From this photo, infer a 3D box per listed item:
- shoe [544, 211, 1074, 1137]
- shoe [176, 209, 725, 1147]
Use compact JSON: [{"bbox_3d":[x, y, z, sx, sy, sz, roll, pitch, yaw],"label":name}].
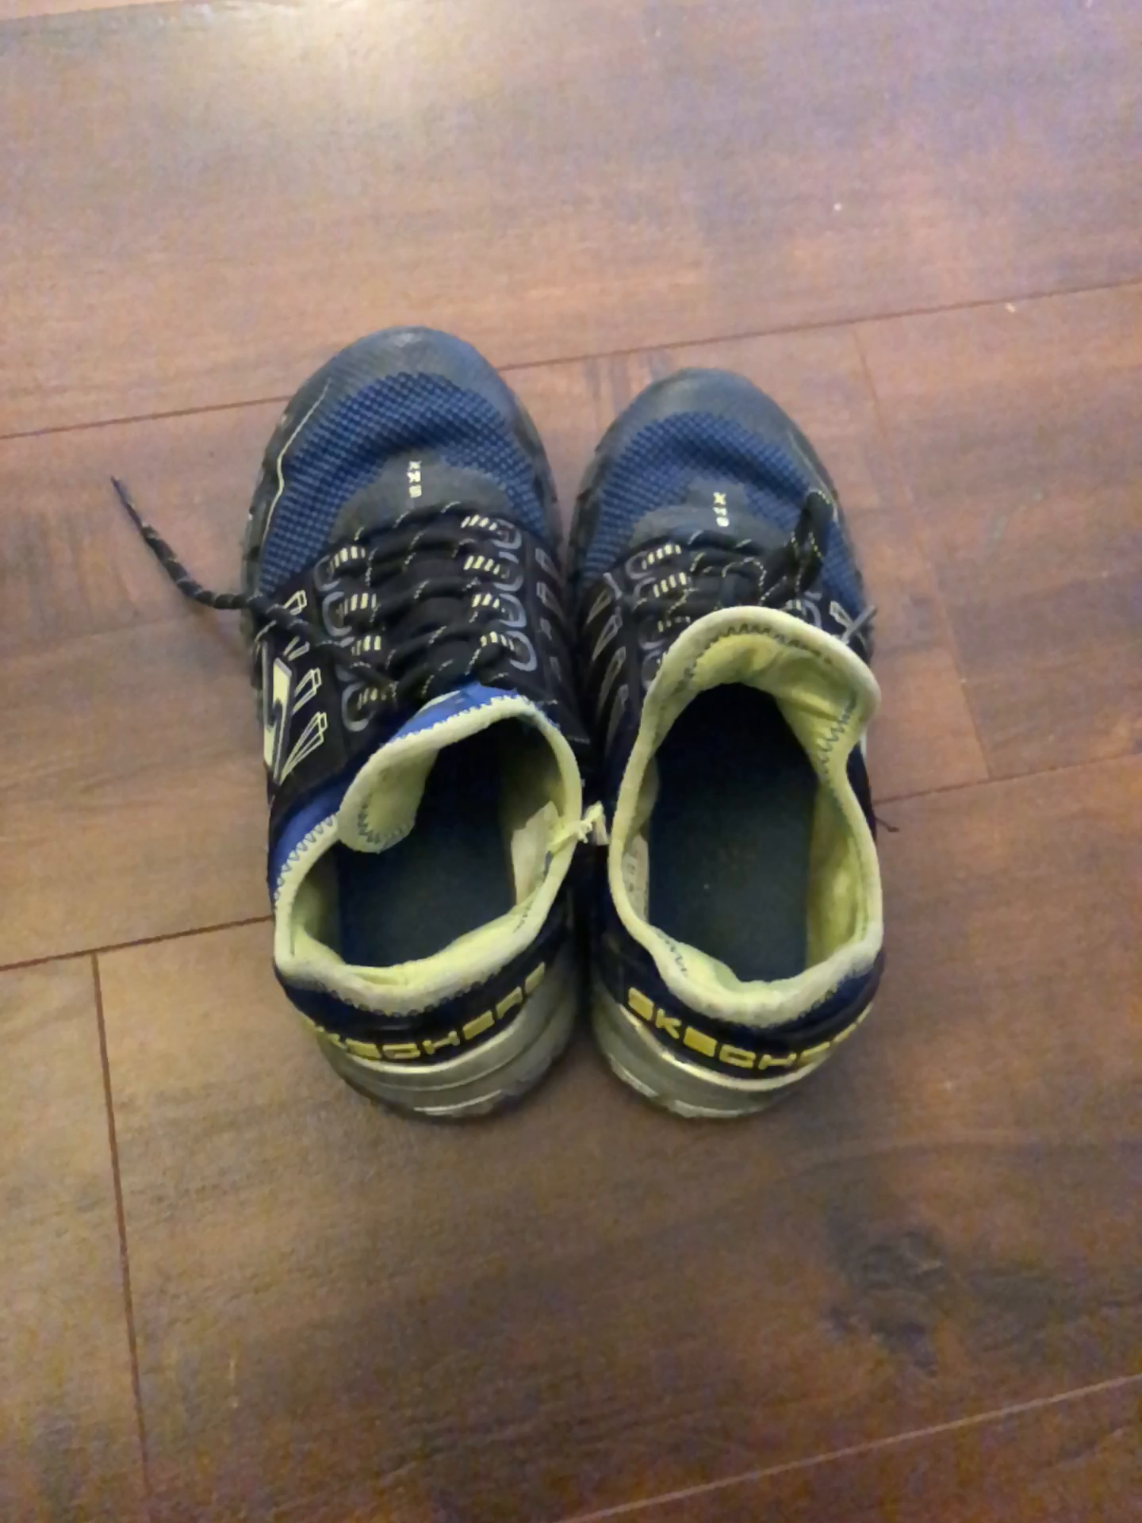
[{"bbox_3d":[0.052,-0.013,0.336,0.100,0.120,0.210,4,73,-2],"label":"shoe"},{"bbox_3d":[-0.036,-0.014,0.334,0.100,0.120,0.210,-6,73,-5],"label":"shoe"}]
